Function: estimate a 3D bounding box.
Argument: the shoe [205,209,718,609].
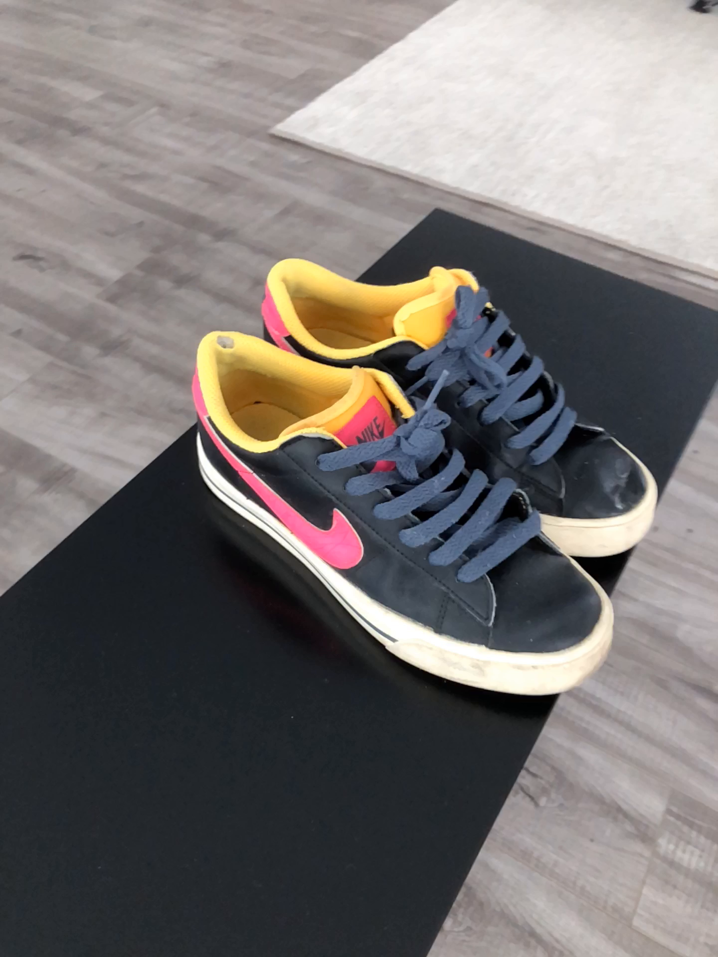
[{"bbox_3d":[0.049,-0.043,0.428,0.244,0.100,0.090,25,56,18],"label":"shoe"}]

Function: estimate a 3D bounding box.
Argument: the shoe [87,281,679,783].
[{"bbox_3d":[0.002,0.016,0.379,0.245,0.100,0.095,30,57,22],"label":"shoe"}]
